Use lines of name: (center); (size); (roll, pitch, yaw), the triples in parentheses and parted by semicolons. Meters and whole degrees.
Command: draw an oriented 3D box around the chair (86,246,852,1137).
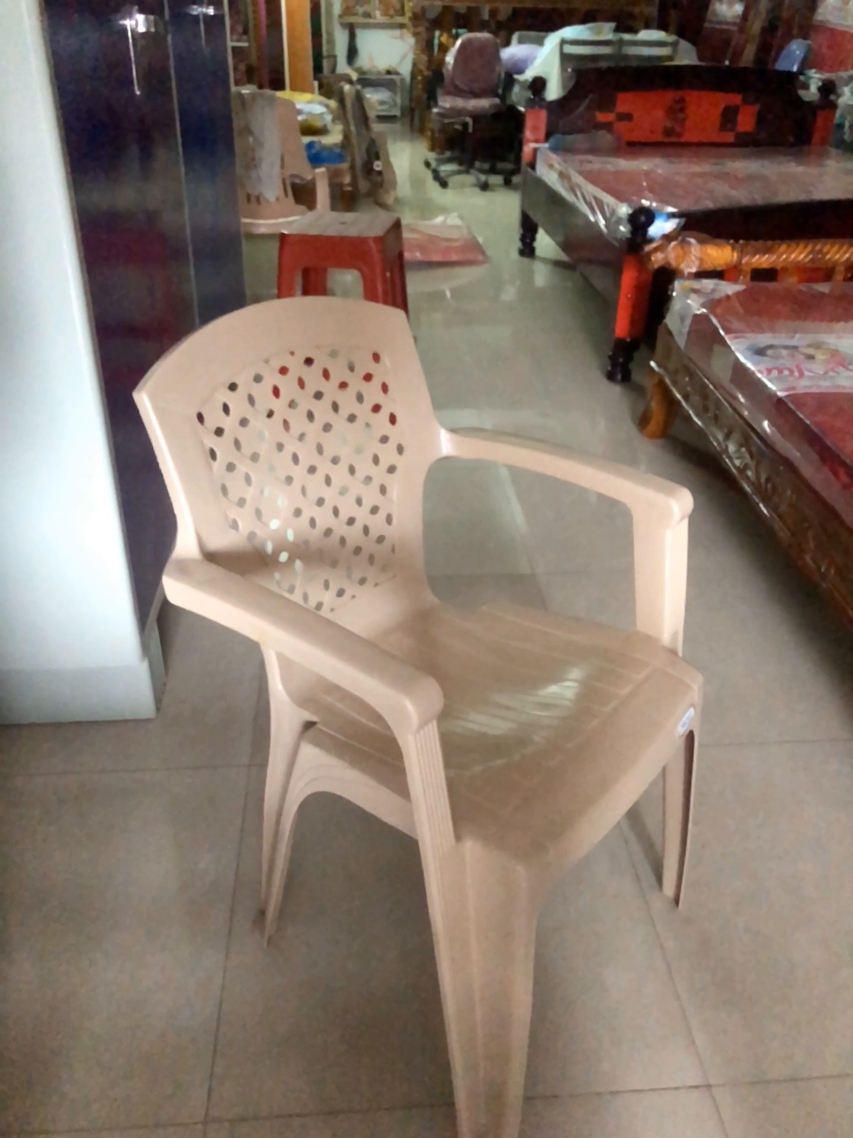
chair: (0.064, 0.115, 1.114); (0.560, 0.796, 0.543); (23, 37, 32)
